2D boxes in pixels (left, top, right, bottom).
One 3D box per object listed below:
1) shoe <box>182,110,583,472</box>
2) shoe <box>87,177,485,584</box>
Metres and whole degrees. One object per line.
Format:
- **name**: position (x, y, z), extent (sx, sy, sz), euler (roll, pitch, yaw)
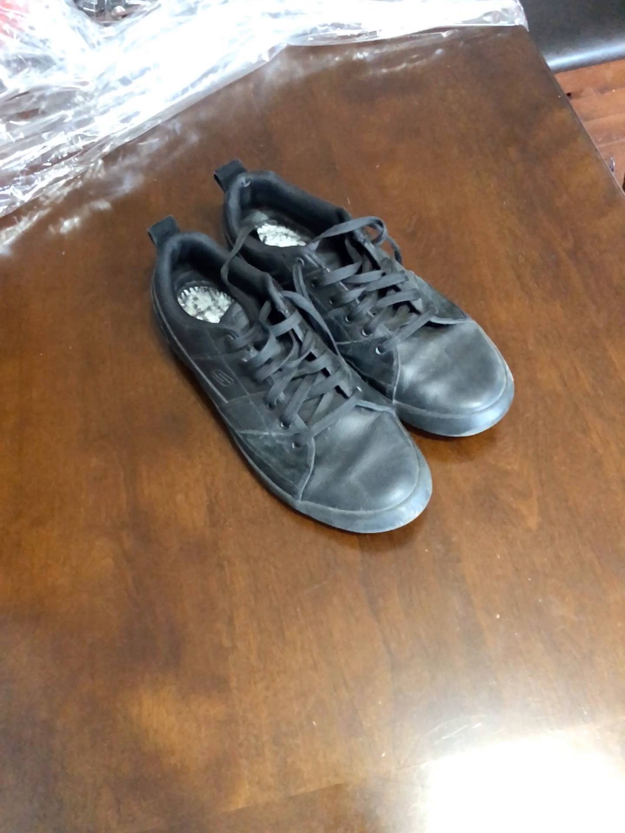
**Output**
- **shoe**: position (0.044, -0.108, 0.560), extent (0.300, 0.110, 0.110), euler (40, 71, 22)
- **shoe**: position (-0.028, -0.035, 0.524), extent (0.110, 0.110, 0.300), euler (-38, 66, -15)
